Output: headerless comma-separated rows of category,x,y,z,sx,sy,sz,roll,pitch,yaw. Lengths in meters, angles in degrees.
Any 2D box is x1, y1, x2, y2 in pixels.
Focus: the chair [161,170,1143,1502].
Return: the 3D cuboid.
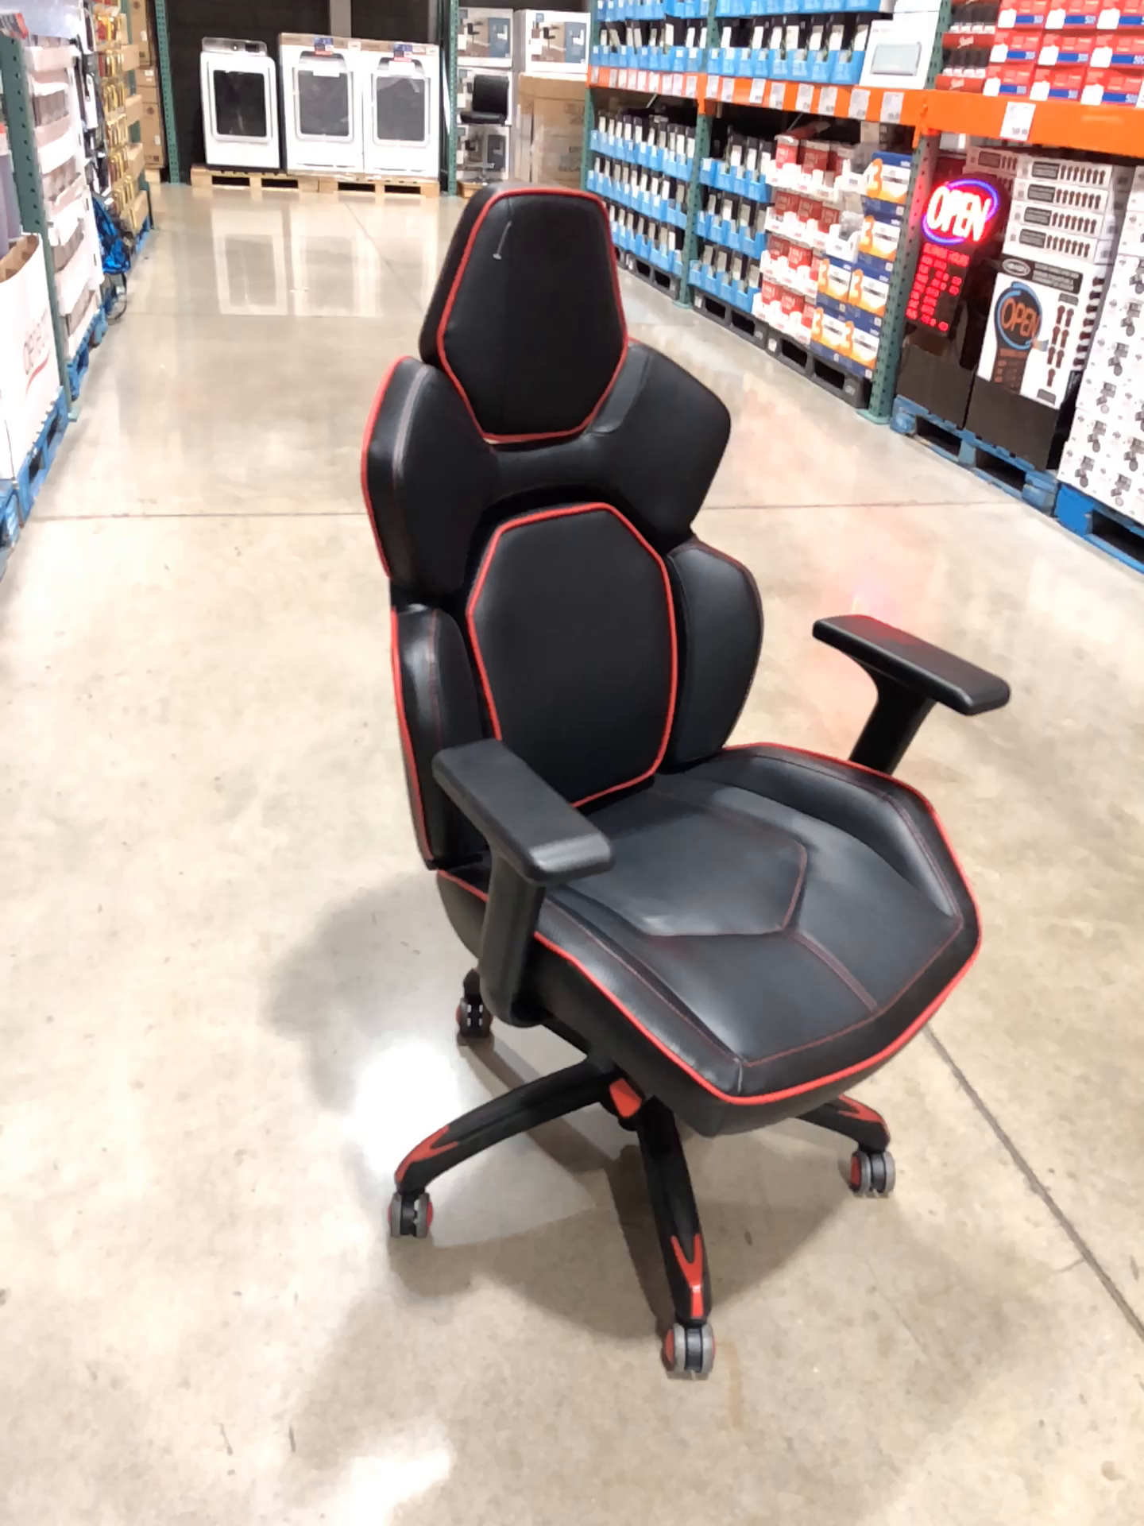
chair,0.101,-0.009,1.424,0.722,1.145,0.721,27,36,36
